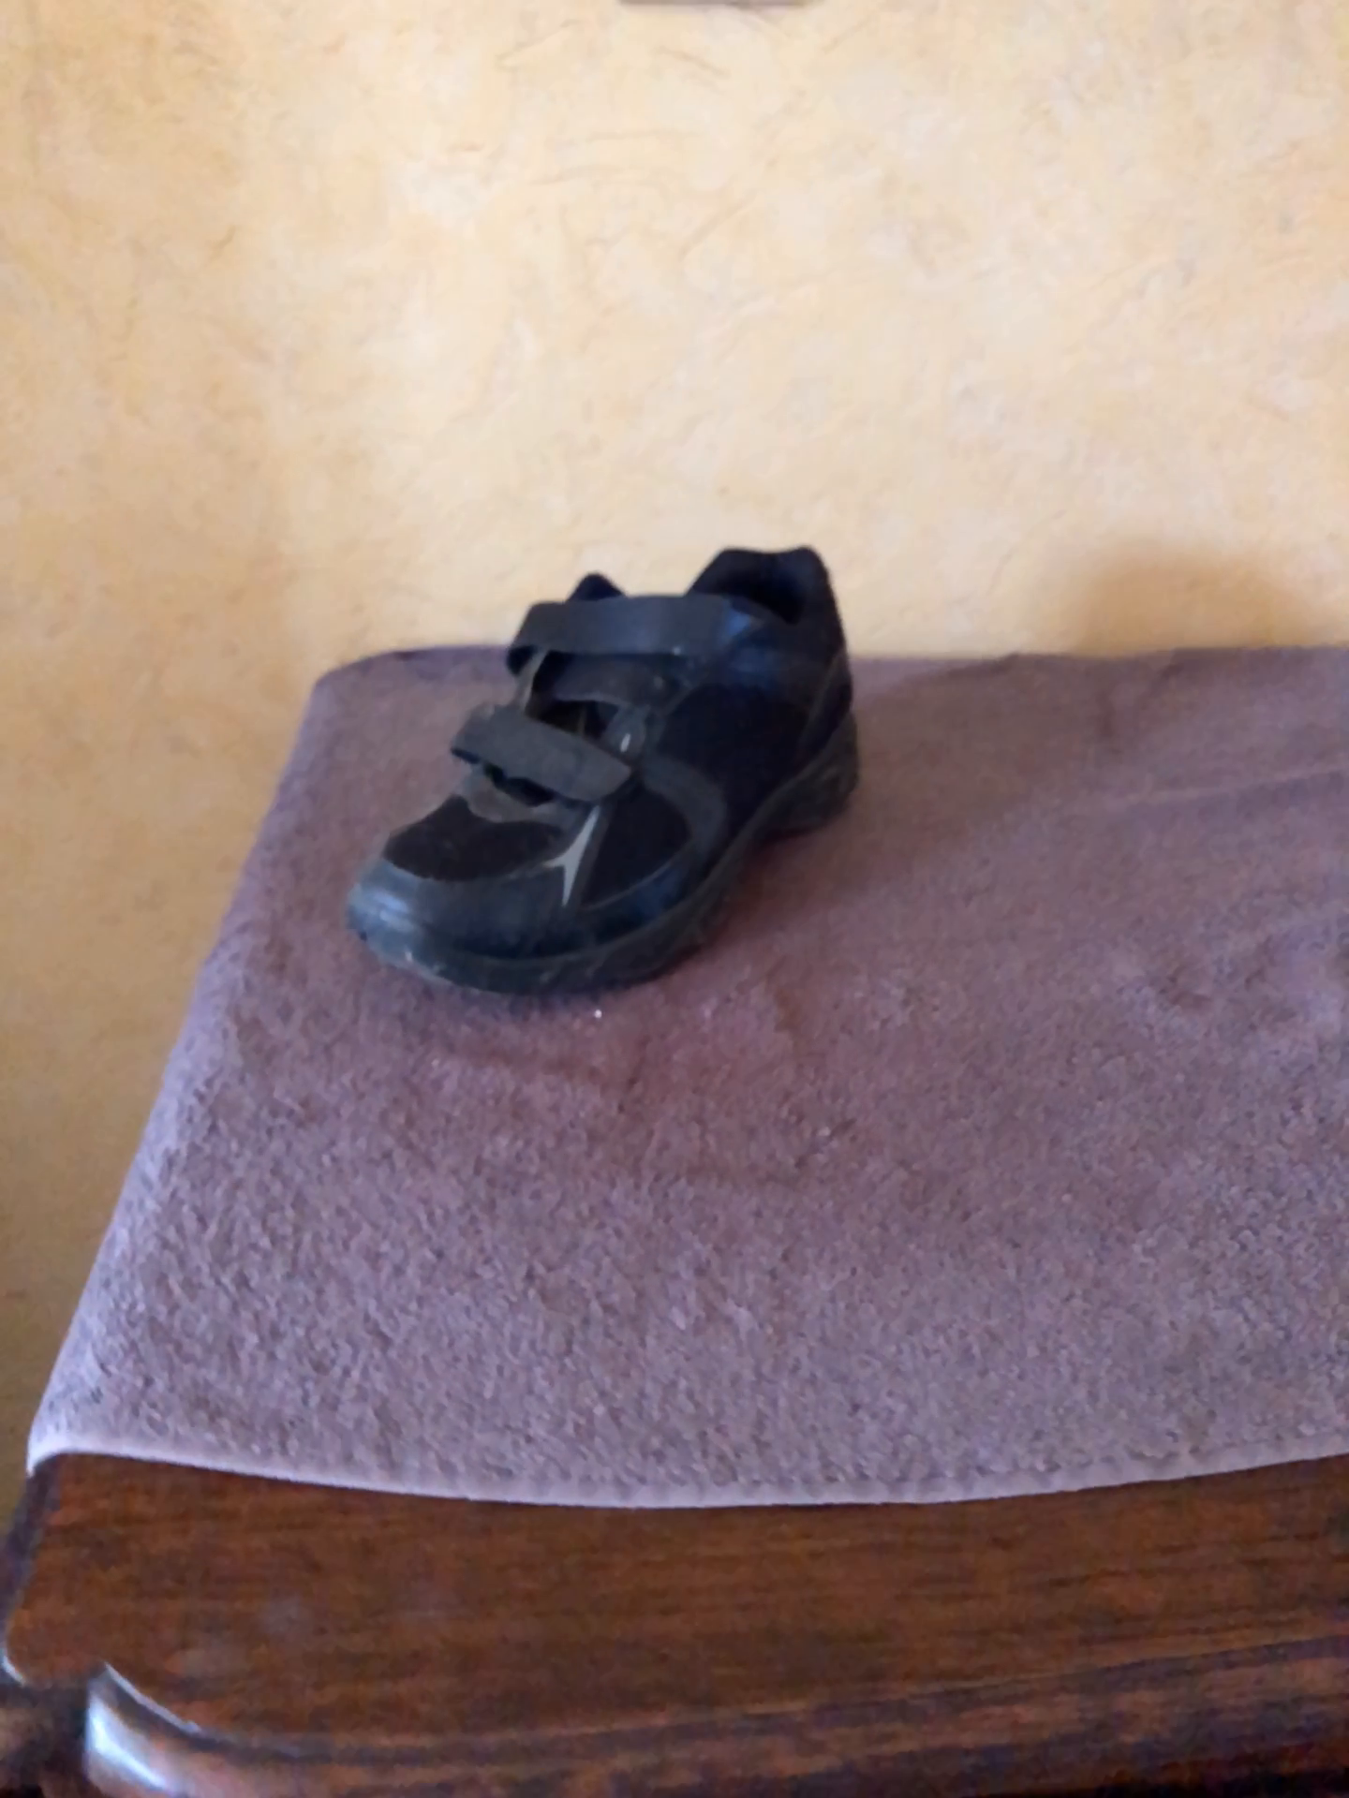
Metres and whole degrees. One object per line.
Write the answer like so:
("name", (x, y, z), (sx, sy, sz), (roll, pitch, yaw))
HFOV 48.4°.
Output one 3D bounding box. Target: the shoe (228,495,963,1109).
("shoe", (-0.012, -0.055, 0.554), (0.110, 0.109, 0.272), (21, 36, 31))
